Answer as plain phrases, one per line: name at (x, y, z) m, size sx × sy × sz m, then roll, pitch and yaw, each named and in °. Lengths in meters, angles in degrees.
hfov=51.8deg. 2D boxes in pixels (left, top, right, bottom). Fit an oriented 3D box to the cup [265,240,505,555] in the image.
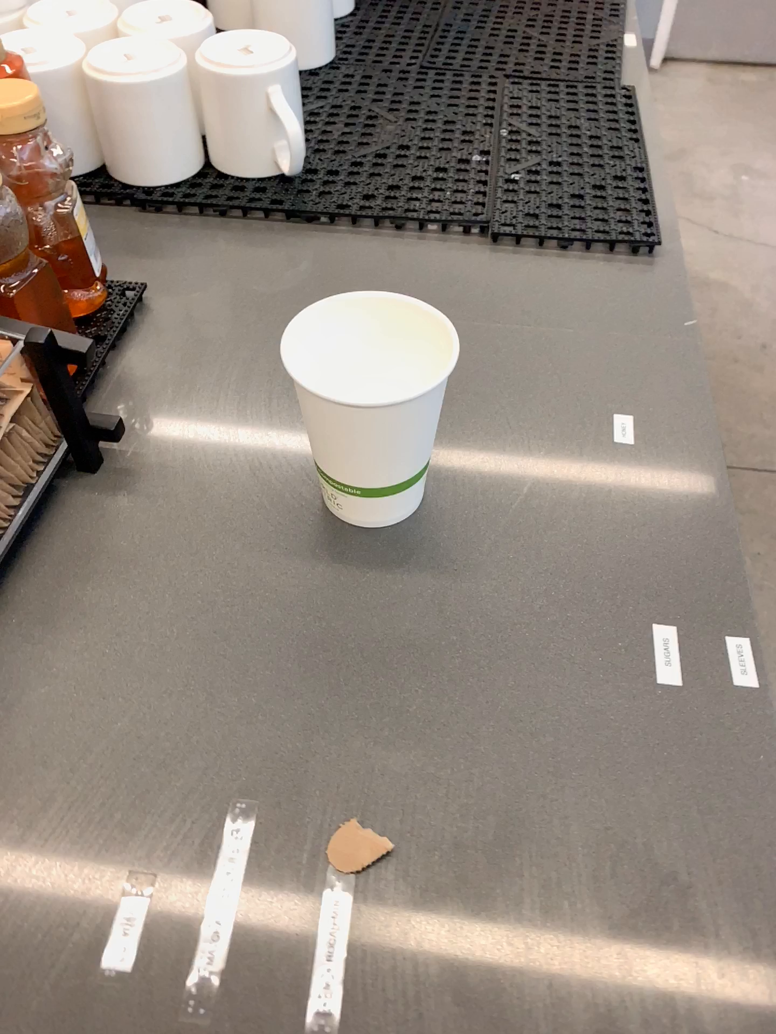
cup at (-0.001, -0.062, 0.422) m, size 0.080 × 0.119 × 0.080 m, roll 0°, pitch 50°, yaw 0°
